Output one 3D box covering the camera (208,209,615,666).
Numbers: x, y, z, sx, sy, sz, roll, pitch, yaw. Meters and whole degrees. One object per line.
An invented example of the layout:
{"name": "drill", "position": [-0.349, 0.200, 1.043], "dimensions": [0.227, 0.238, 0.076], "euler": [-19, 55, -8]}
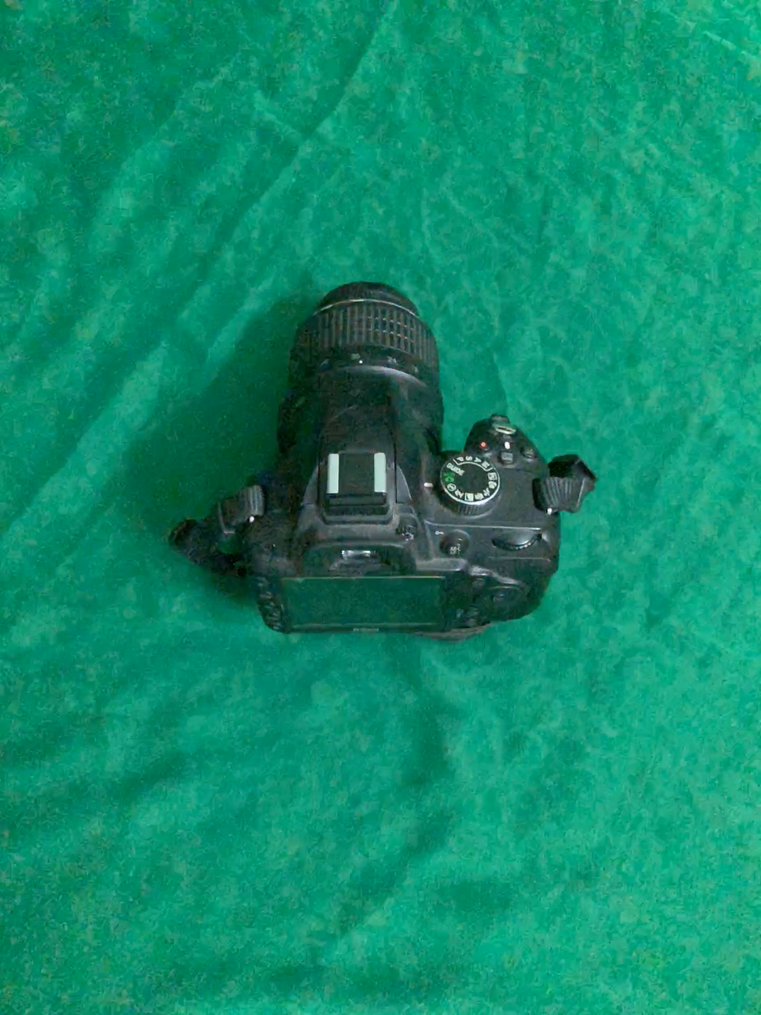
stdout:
{"name": "camera", "position": [0.006, -0.029, 0.337], "dimensions": [0.133, 0.100, 0.166], "euler": [-1, 62, -3]}
